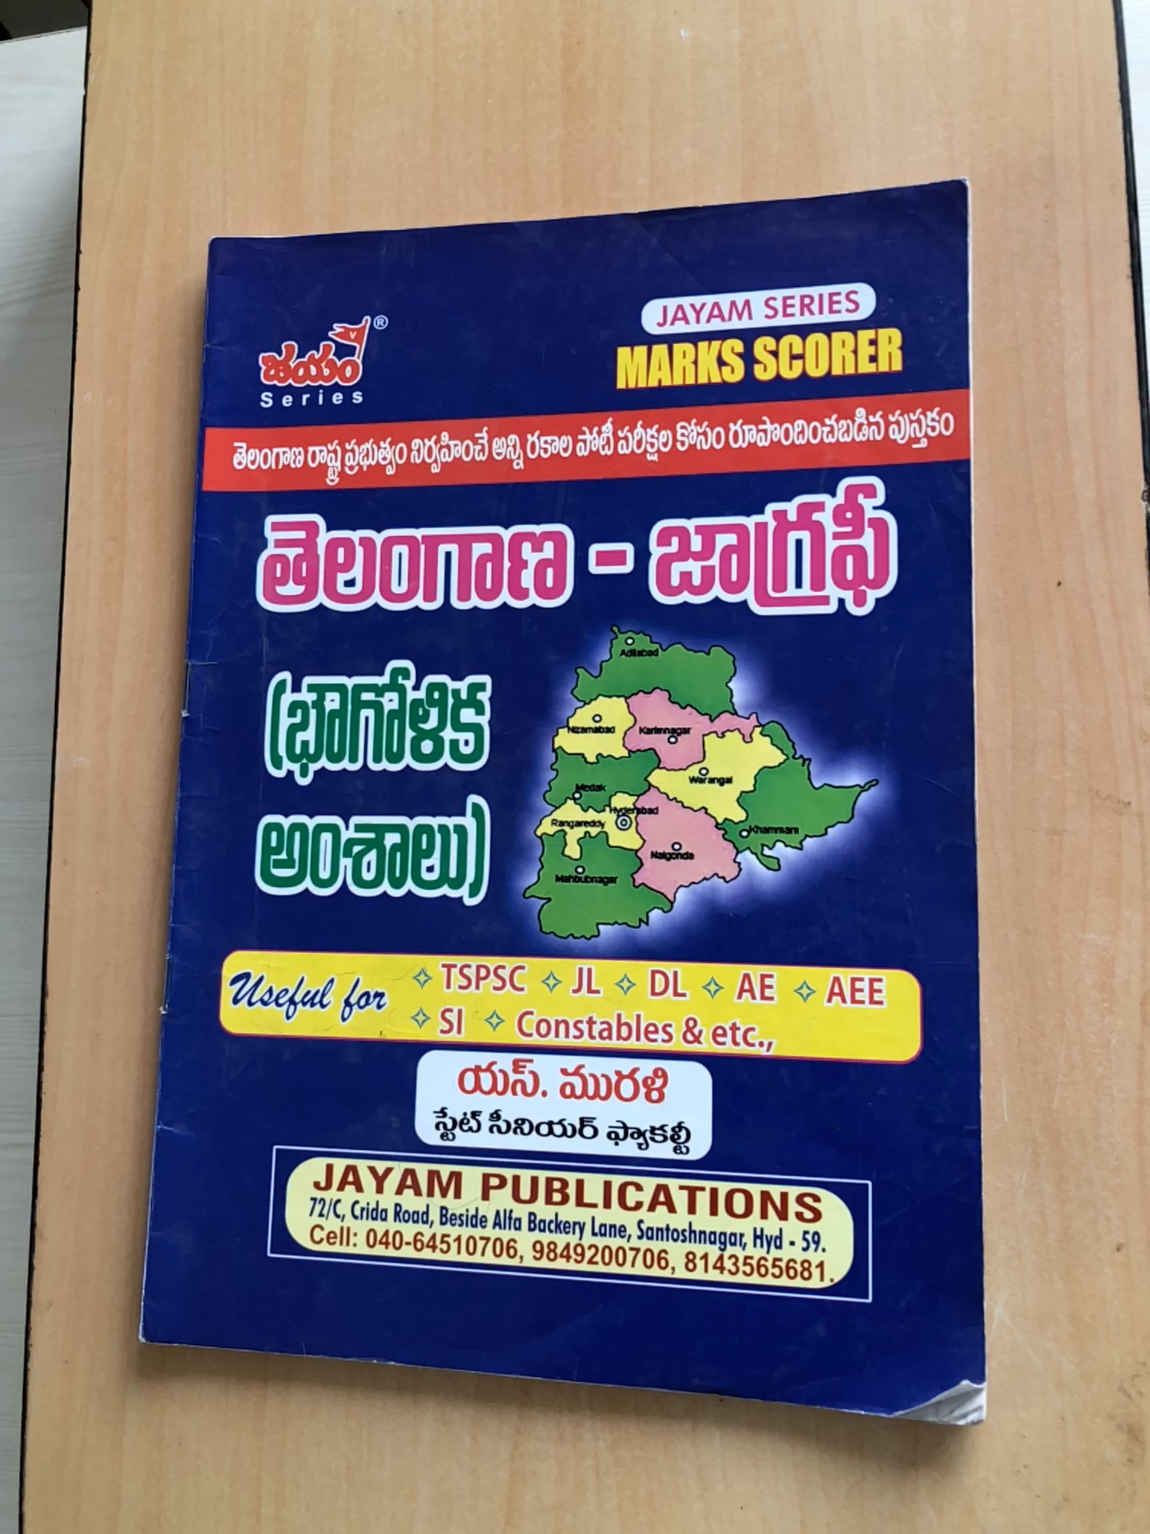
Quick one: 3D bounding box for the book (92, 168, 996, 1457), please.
[{"bbox_3d":[-0.005,0.002,0.314,0.200,0.040,0.280,1,82,11],"label":"book"}]
